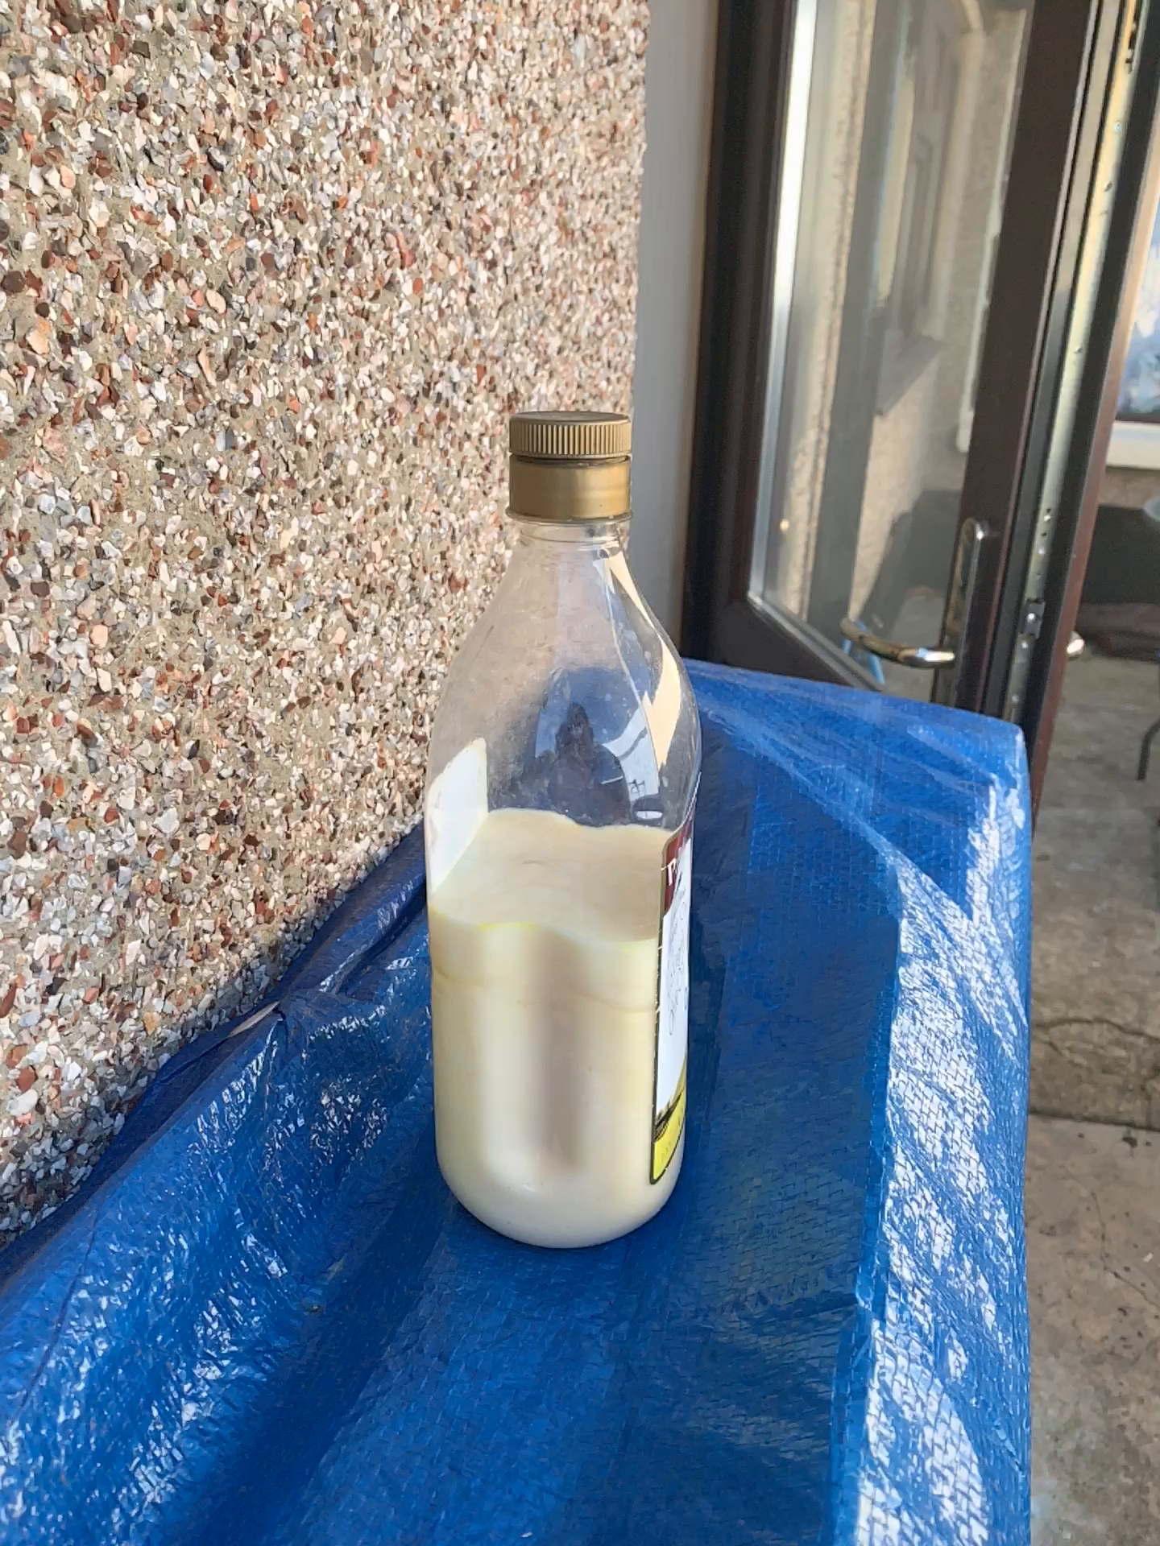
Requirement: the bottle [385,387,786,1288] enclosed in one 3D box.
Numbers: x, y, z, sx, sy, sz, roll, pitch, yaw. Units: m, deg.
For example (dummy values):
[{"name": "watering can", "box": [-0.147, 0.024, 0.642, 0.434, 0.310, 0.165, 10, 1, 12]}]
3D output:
[{"name": "bottle", "box": [0.002, 0.019, 0.346, 0.080, 0.238, 0.081, 1, 24, -1]}]
